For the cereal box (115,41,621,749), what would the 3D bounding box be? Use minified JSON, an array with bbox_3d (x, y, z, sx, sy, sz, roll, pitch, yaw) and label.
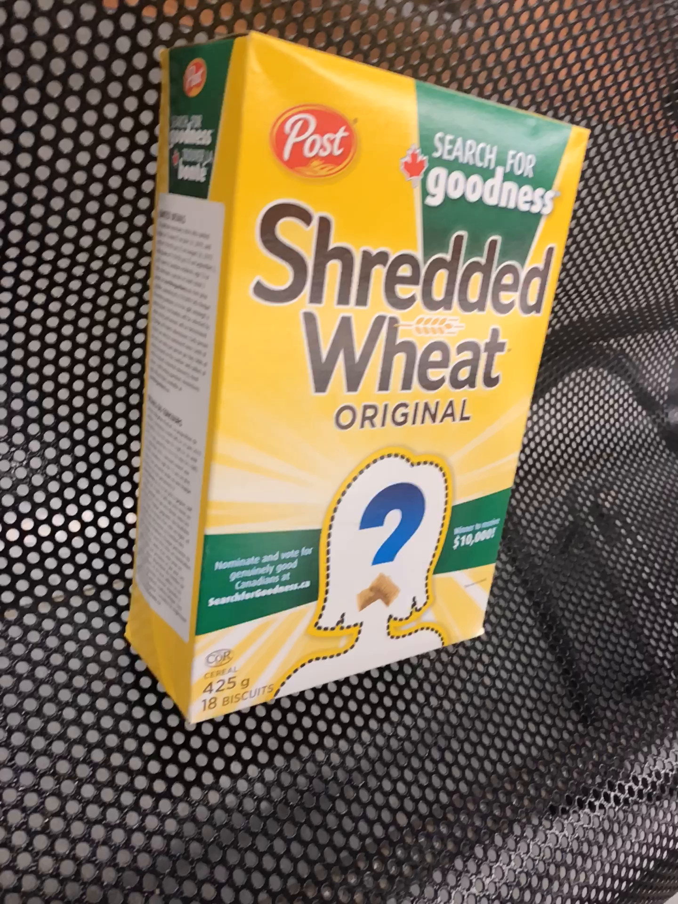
[{"bbox_3d":[0.010,-0.025,0.380,0.211,0.279,0.090,-6,22,-36],"label":"cereal box"}]
